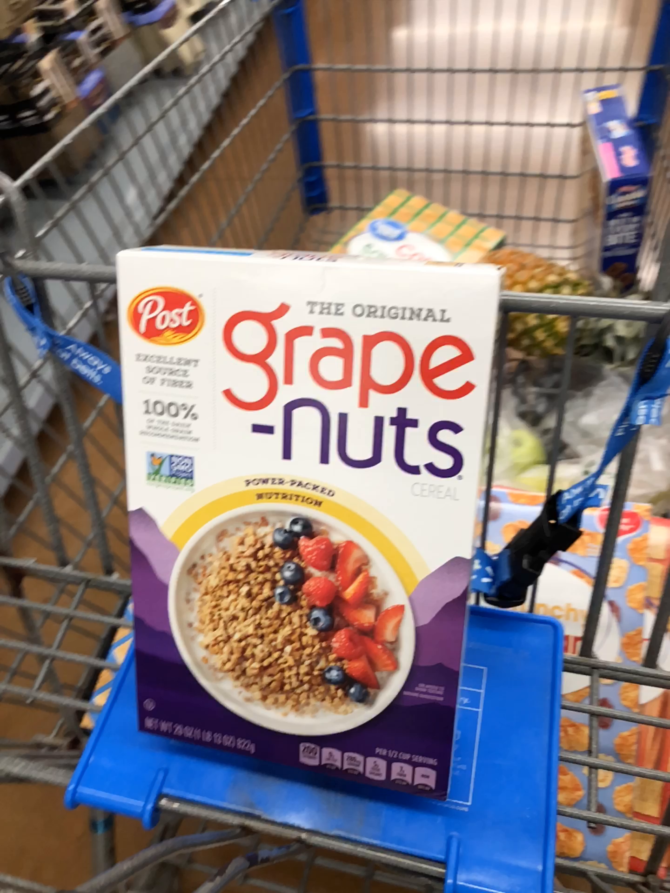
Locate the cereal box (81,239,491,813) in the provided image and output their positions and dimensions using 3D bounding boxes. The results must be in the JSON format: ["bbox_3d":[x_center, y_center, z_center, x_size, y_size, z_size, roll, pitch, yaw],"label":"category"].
[{"bbox_3d":[-0.026,0.035,0.355,0.170,0.250,0.050,6,16,13],"label":"cereal box"}]
